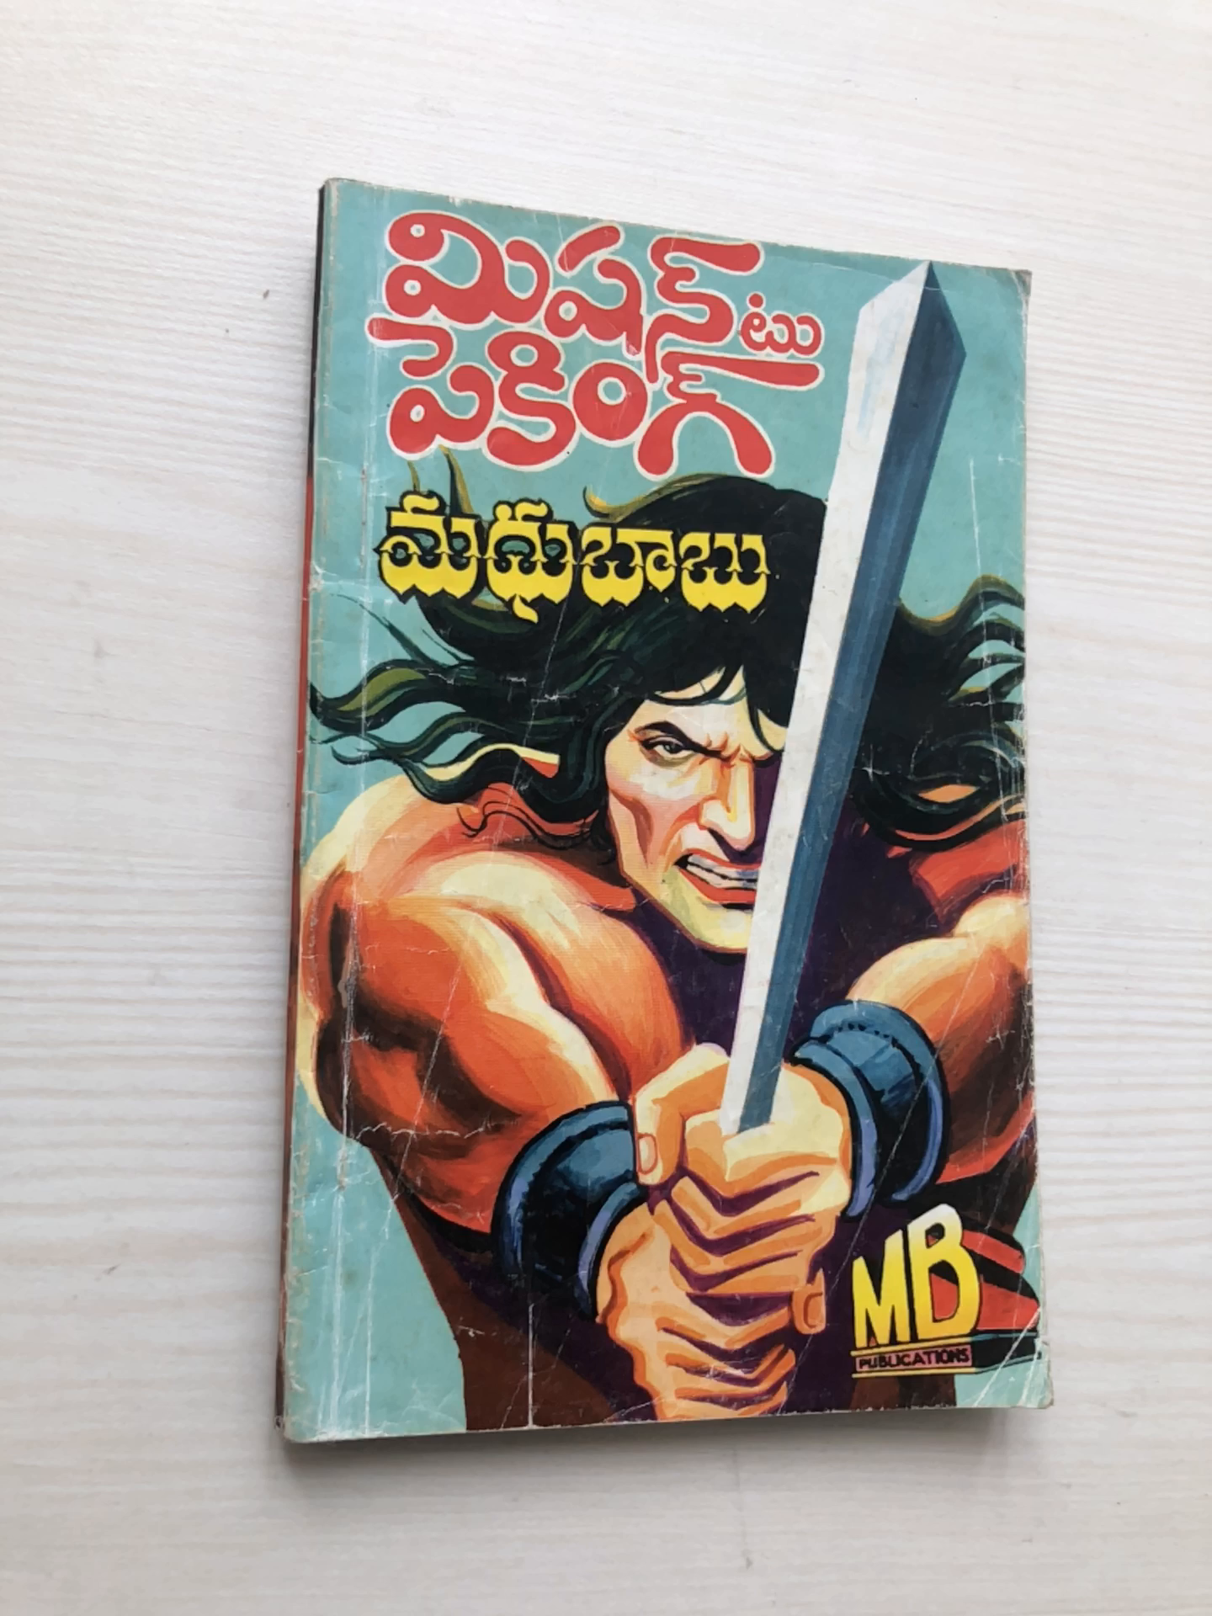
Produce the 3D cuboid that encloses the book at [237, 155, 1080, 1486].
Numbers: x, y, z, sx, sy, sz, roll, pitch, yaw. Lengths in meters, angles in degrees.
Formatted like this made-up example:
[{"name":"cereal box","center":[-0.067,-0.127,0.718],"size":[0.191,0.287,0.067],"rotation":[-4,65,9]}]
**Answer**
[{"name":"book","center":[0.007,0.001,0.177],"size":[0.100,0.030,0.150],"rotation":[2,85,-12]}]
